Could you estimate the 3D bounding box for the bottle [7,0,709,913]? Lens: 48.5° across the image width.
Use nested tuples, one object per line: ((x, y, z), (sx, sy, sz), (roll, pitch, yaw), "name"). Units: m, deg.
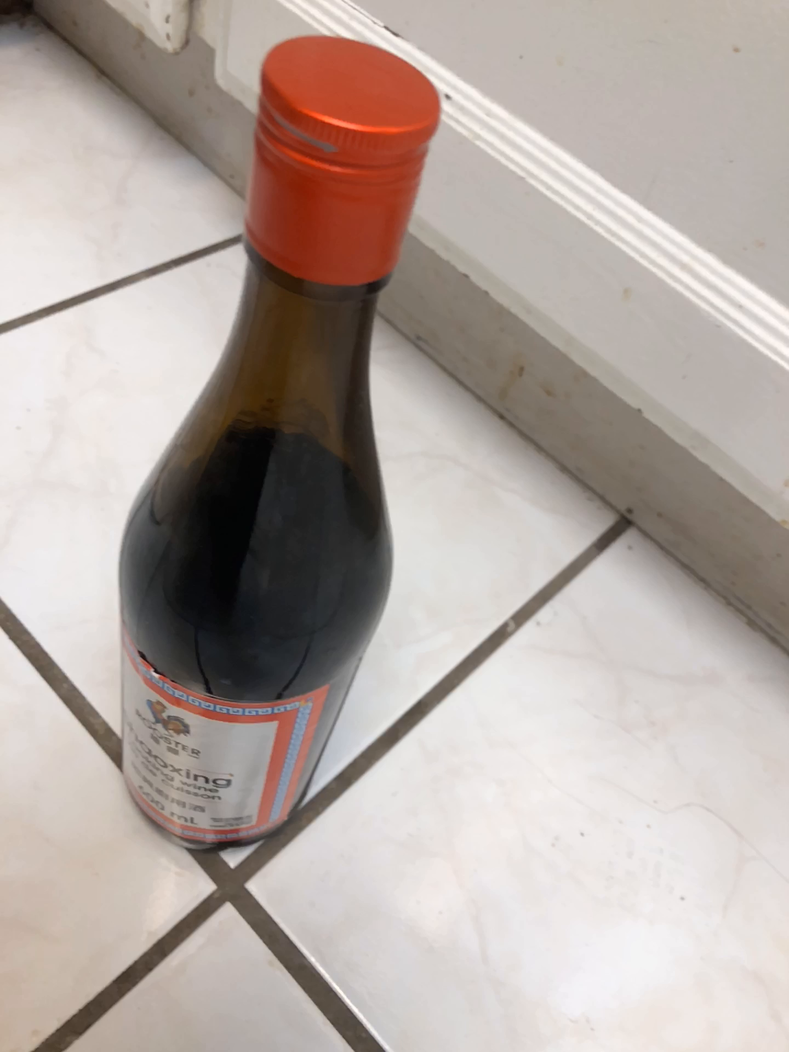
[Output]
((-0.031, 0.015, 0.234), (0.080, 0.278, 0.070), (29, 51, 6), "bottle")
